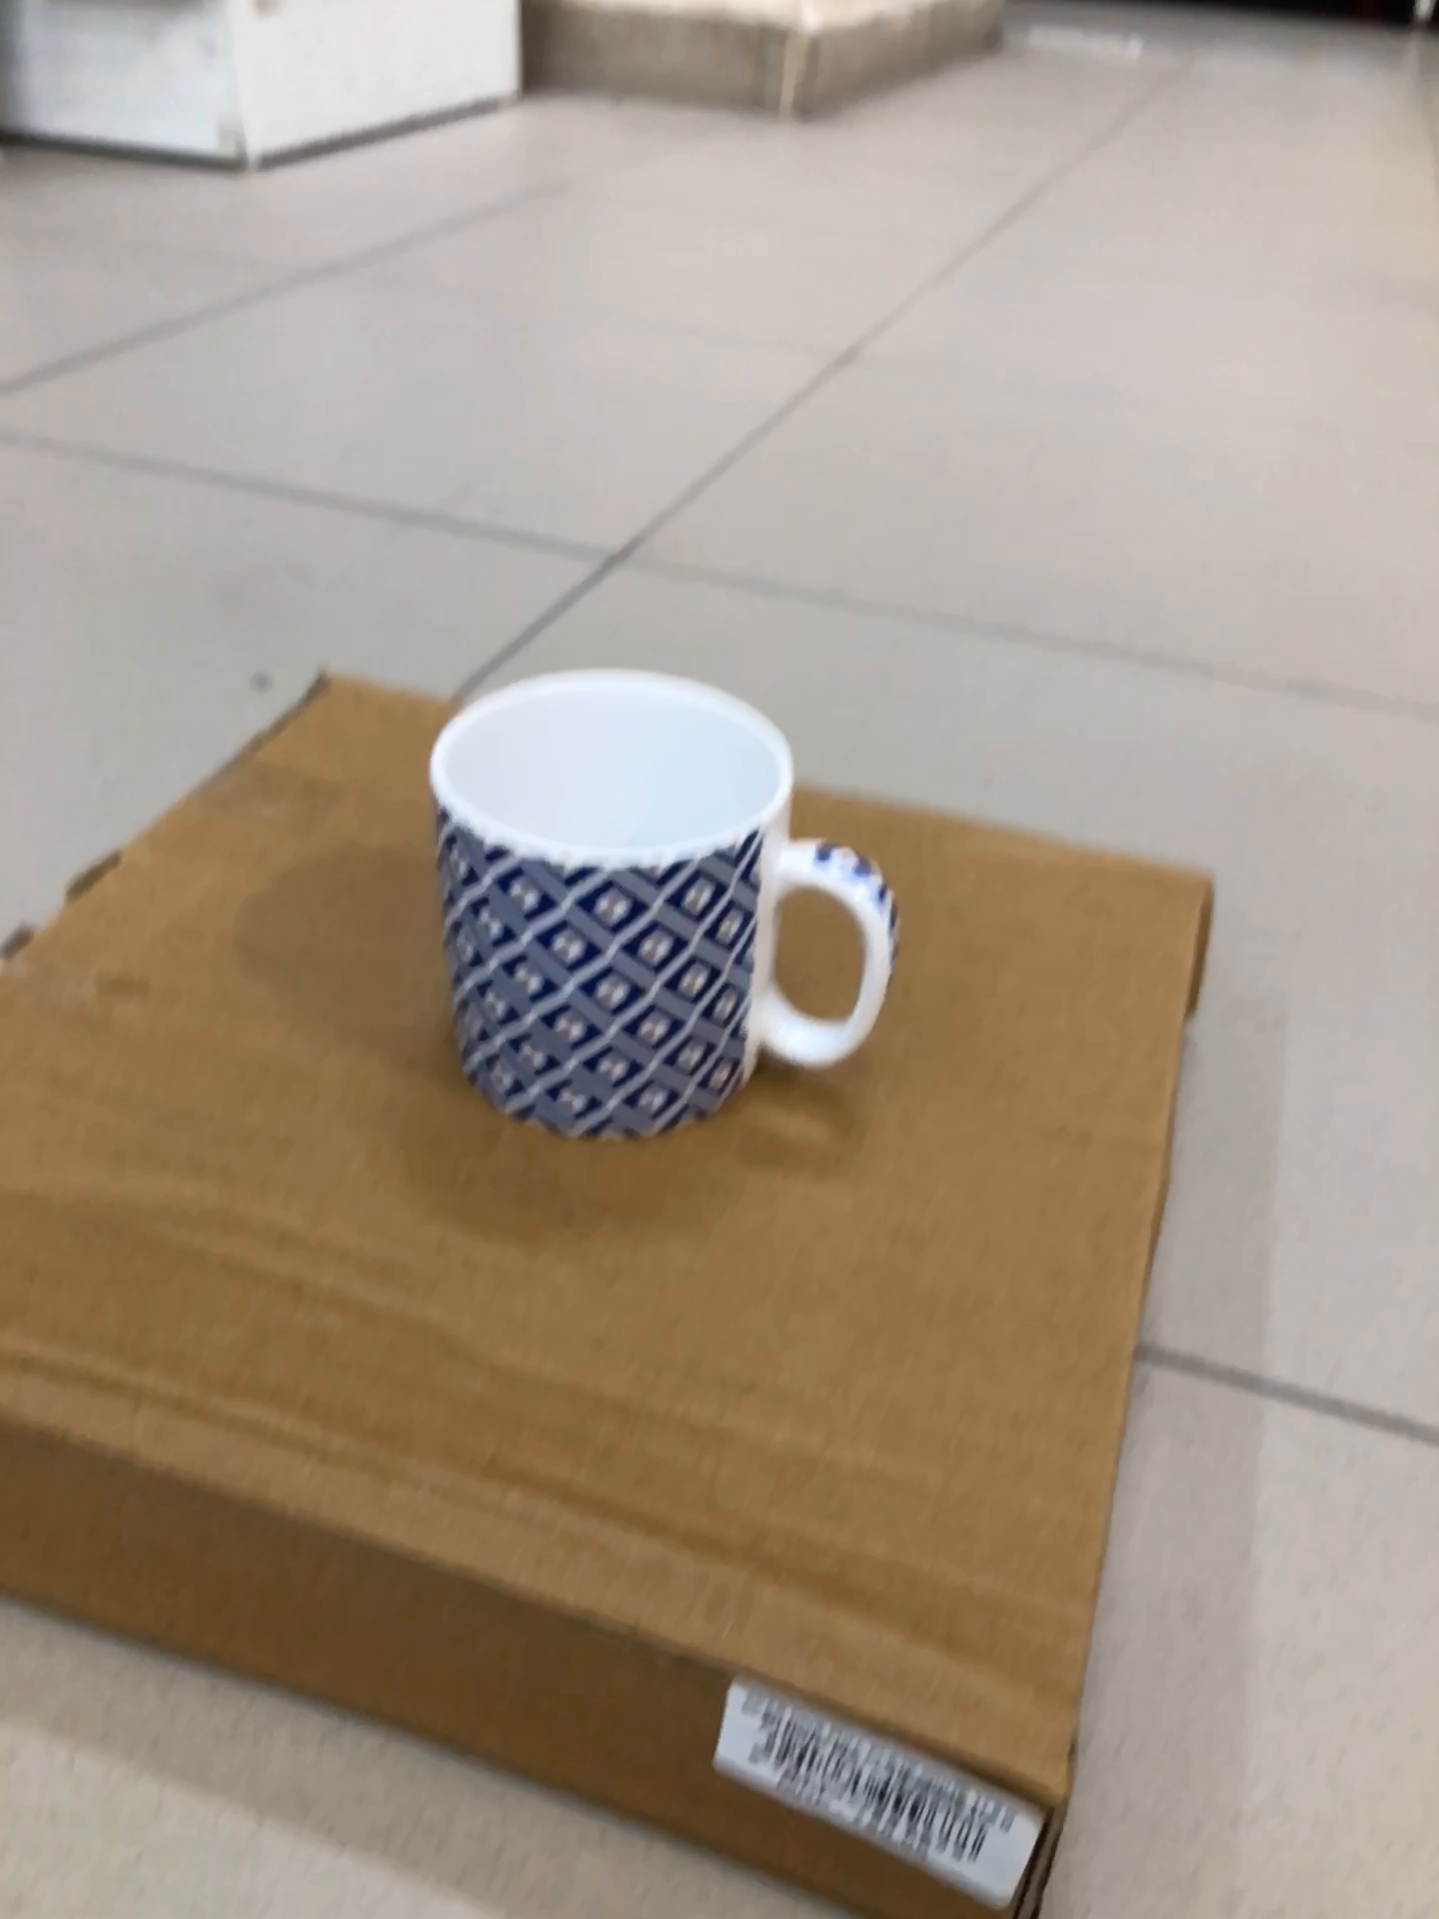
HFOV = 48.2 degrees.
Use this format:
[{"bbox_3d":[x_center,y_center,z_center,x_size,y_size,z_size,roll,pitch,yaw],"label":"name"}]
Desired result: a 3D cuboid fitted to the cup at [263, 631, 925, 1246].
[{"bbox_3d":[-0.023,-0.009,0.343,0.110,0.079,0.081,13,35,13],"label":"cup"}]
